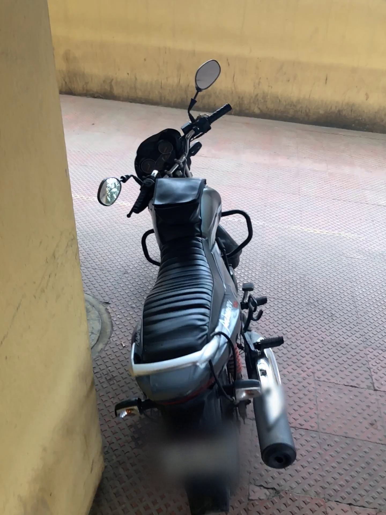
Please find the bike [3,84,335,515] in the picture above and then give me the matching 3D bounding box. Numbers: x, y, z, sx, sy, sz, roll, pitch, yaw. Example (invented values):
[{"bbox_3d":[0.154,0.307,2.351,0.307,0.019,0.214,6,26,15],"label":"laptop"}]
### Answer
[{"bbox_3d":[-0.162,0.074,1.844,0.720,1.165,1.477,0,36,-6],"label":"bike"}]
